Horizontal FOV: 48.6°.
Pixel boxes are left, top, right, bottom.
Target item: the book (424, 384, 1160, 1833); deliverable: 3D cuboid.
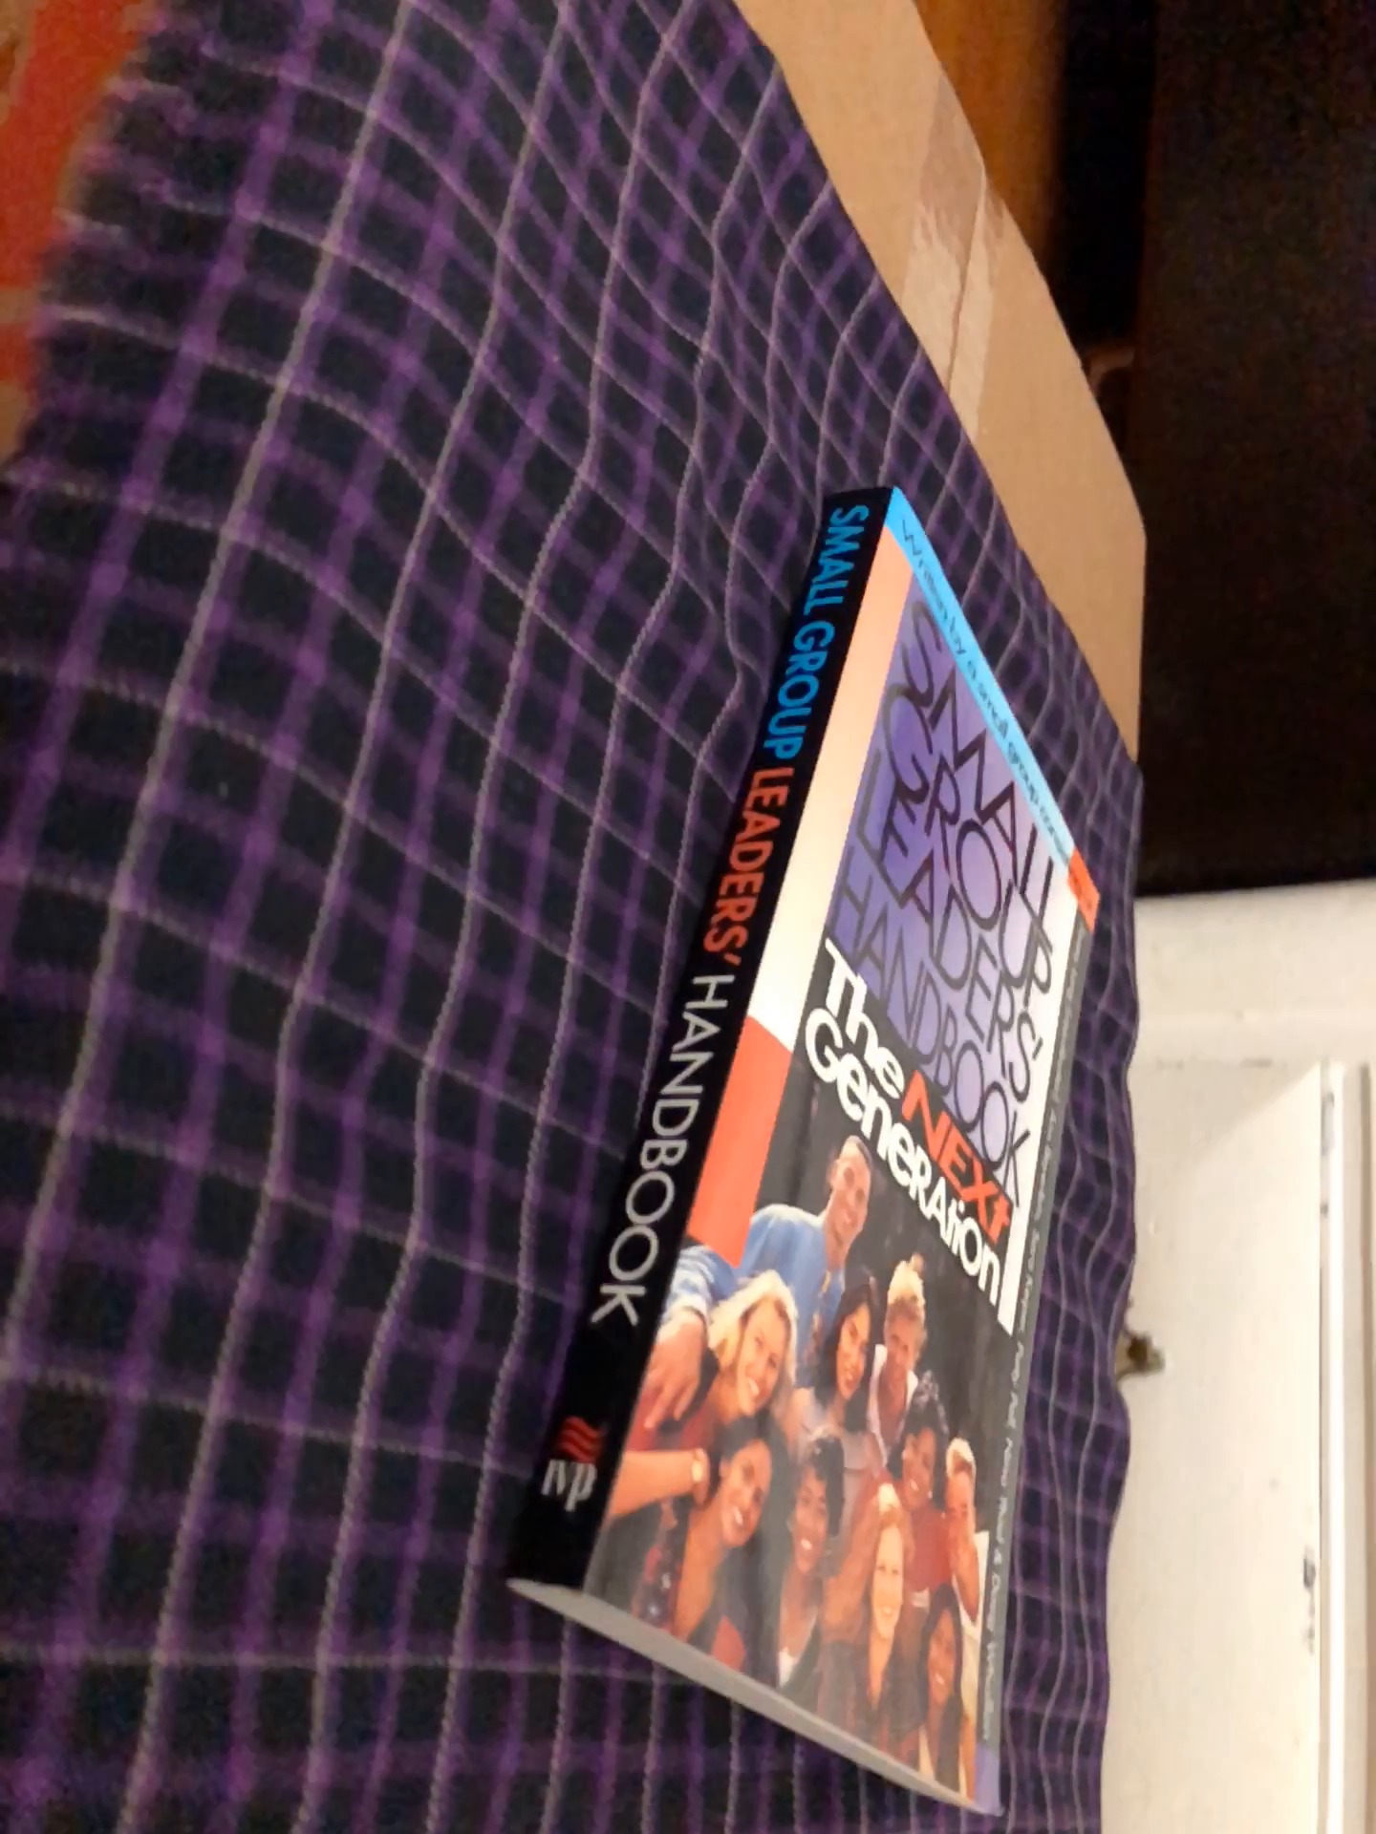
[{"bbox_3d":[0.044,0.034,0.285,0.150,0.030,0.221,51,45,-42],"label":"book"}]
